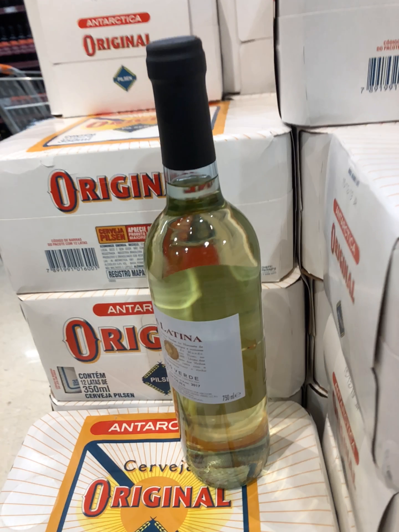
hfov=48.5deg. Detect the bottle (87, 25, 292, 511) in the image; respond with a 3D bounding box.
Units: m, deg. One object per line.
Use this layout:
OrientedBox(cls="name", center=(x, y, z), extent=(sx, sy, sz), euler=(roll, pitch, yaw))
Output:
OrientedBox(cls="bottle", center=(0.006, 0.018, 0.296), extent=(0.070, 0.307, 0.080), euler=(-23, 33, -29))
